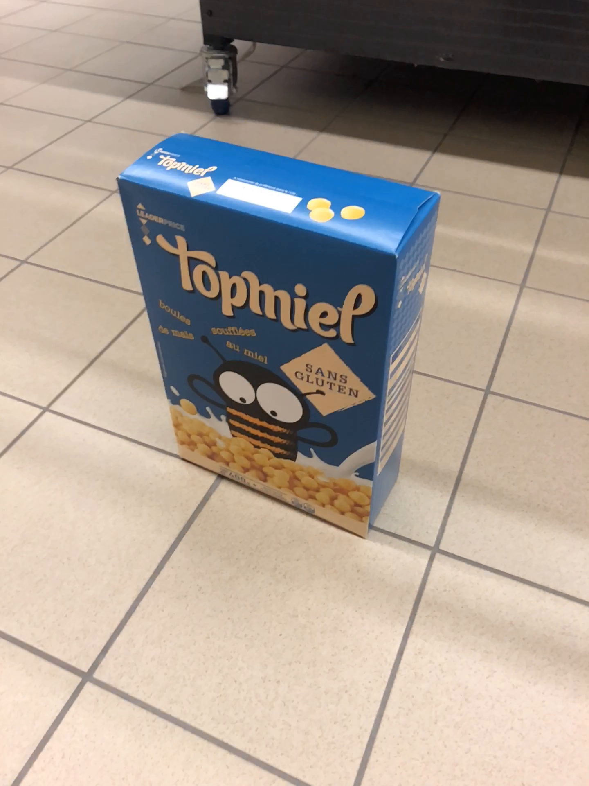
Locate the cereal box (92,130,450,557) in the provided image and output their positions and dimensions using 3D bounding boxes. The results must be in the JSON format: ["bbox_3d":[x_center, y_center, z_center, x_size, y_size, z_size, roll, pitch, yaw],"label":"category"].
[{"bbox_3d":[-0.015,-0.025,0.483,0.200,0.278,0.081,18,46,19],"label":"cereal box"}]
